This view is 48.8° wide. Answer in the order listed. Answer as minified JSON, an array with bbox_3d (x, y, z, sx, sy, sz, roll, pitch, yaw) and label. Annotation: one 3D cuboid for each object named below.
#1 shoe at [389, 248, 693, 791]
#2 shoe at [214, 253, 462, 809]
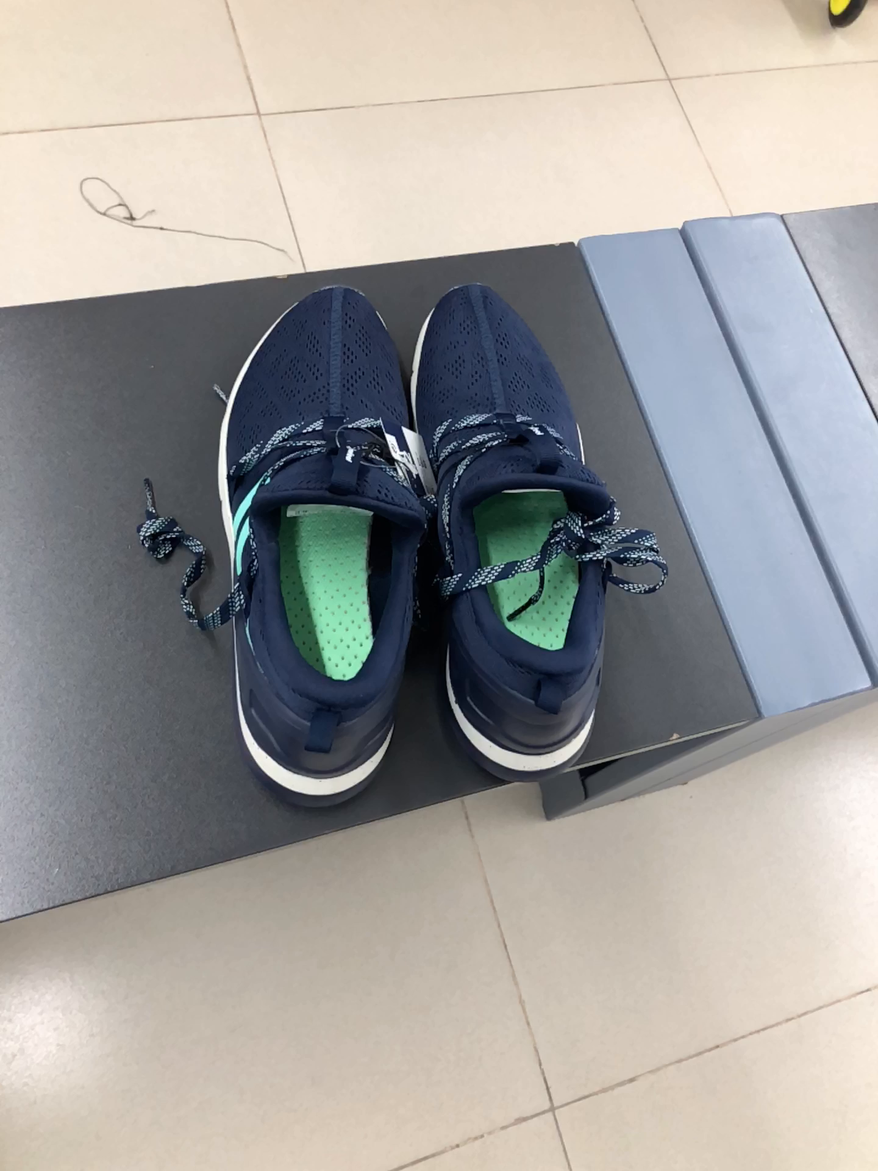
[{"bbox_3d":[0.039,-0.031,0.504,0.100,0.120,0.251,-1,69,-11],"label":"shoe"},{"bbox_3d":[-0.061,-0.025,0.493,0.100,0.120,0.251,-1,69,-11],"label":"shoe"}]
